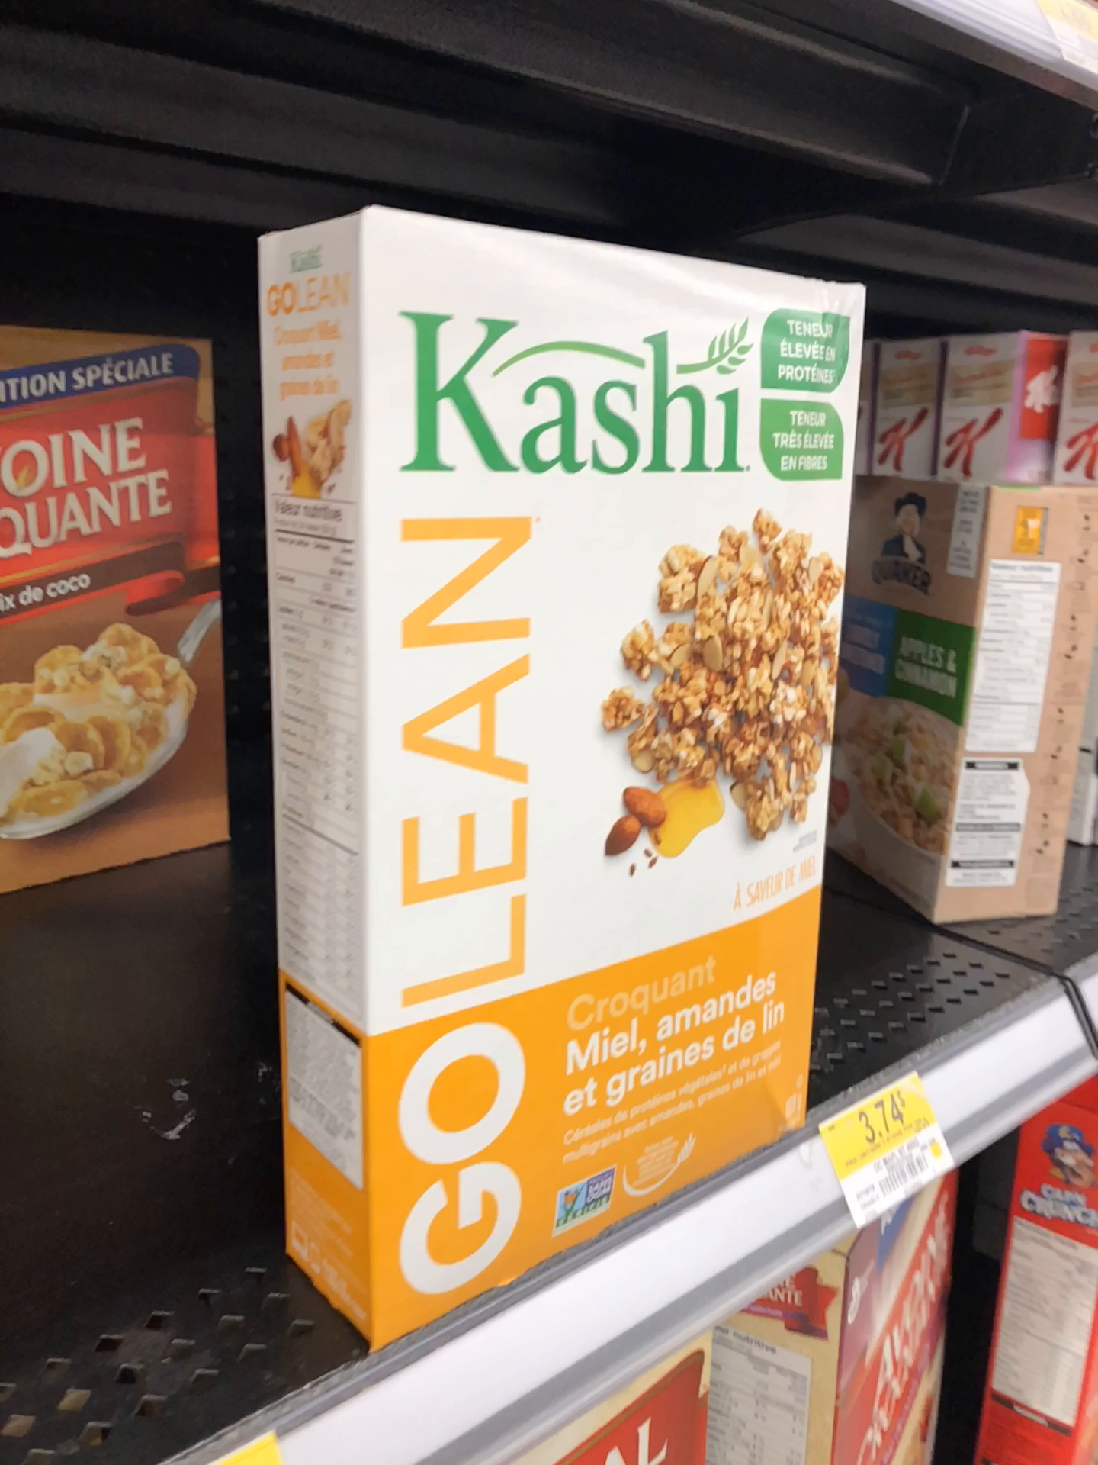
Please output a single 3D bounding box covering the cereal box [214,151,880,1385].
[{"bbox_3d":[0.005,0.006,0.329,0.170,0.269,0.050,-9,17,-39],"label":"cereal box"}]
